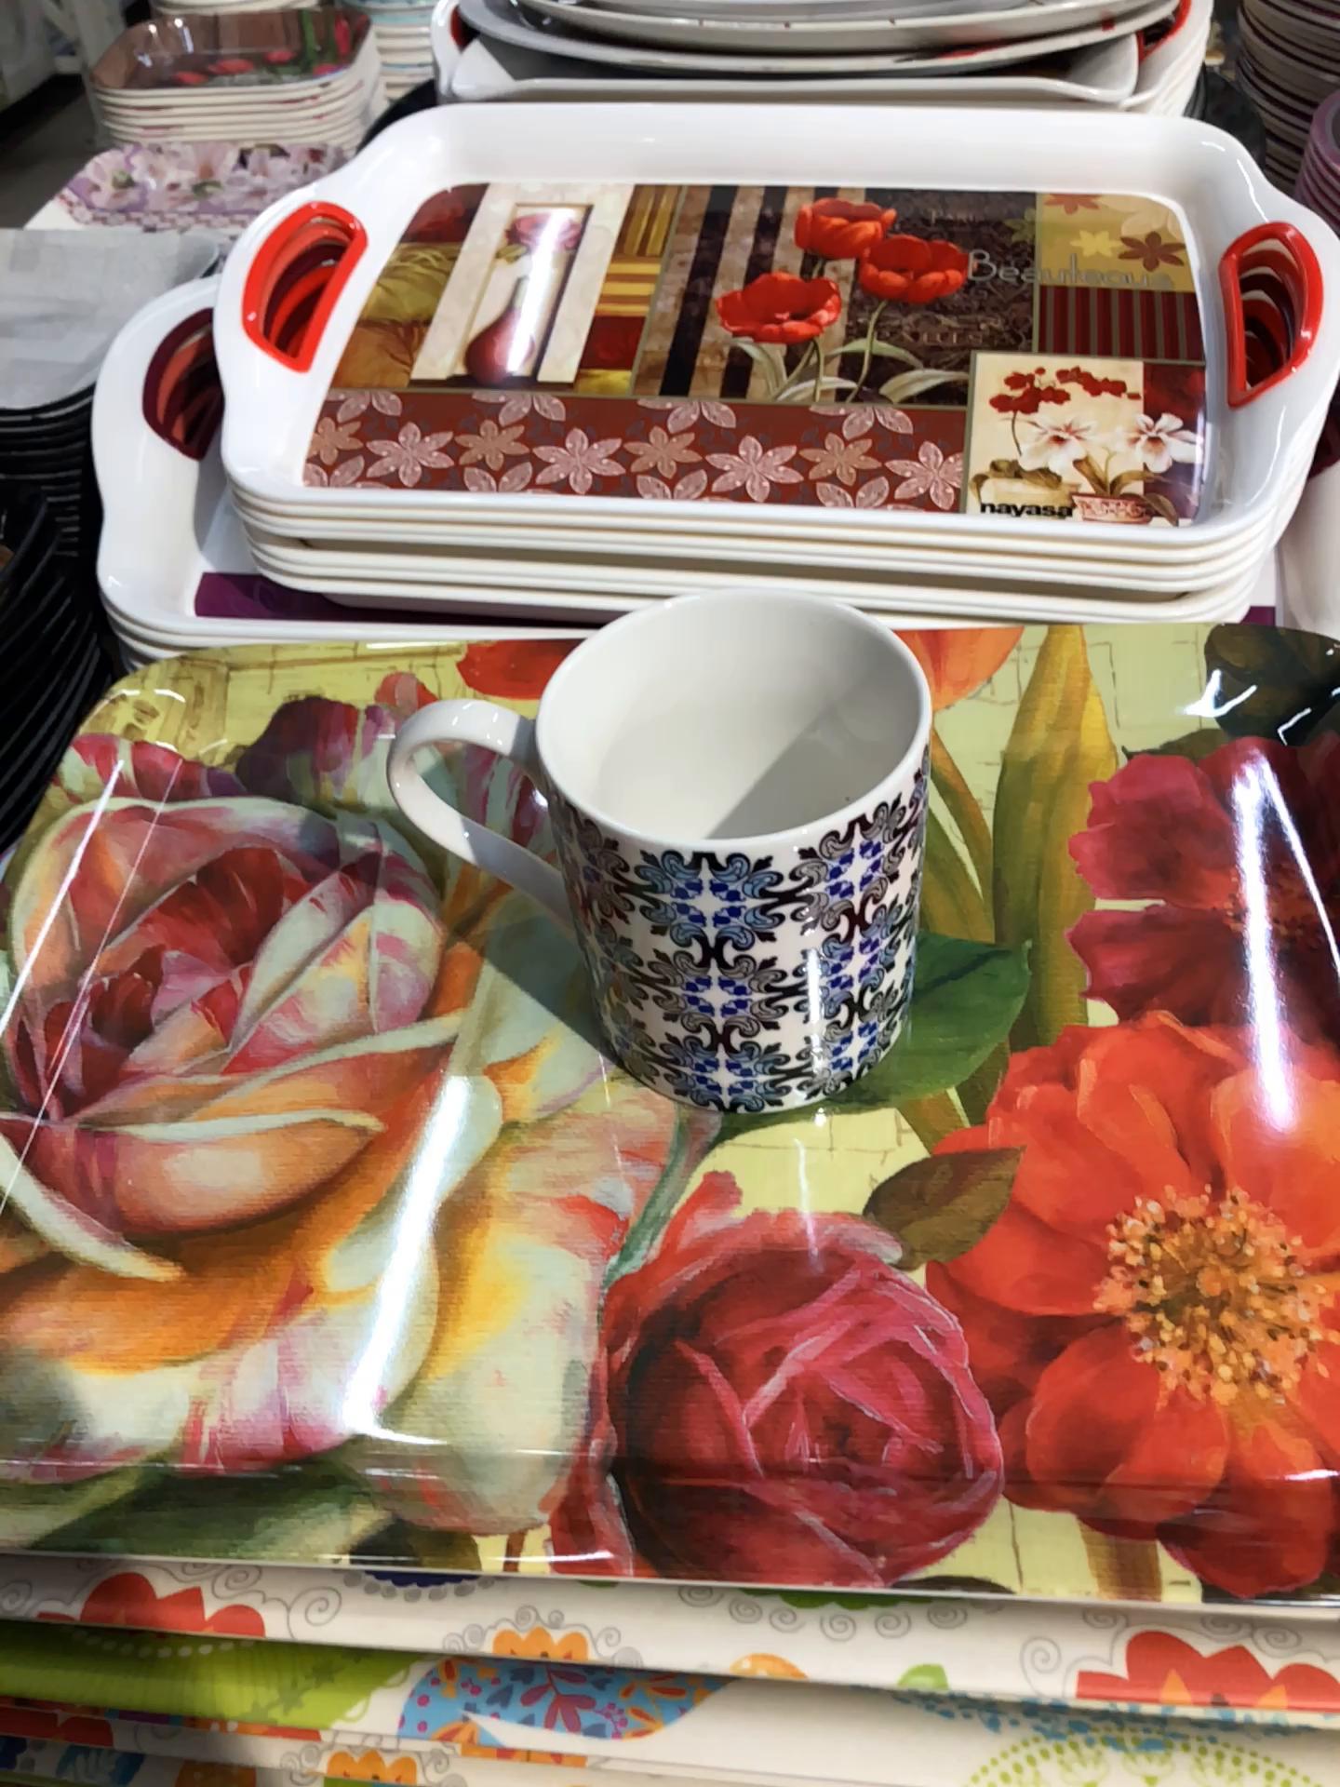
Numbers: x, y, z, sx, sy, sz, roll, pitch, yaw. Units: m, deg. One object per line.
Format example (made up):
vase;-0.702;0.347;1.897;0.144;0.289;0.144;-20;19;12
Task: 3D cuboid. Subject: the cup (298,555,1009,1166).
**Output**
cup;0.002;-0.008;0.337;0.130;0.099;0.091;2;45;6
